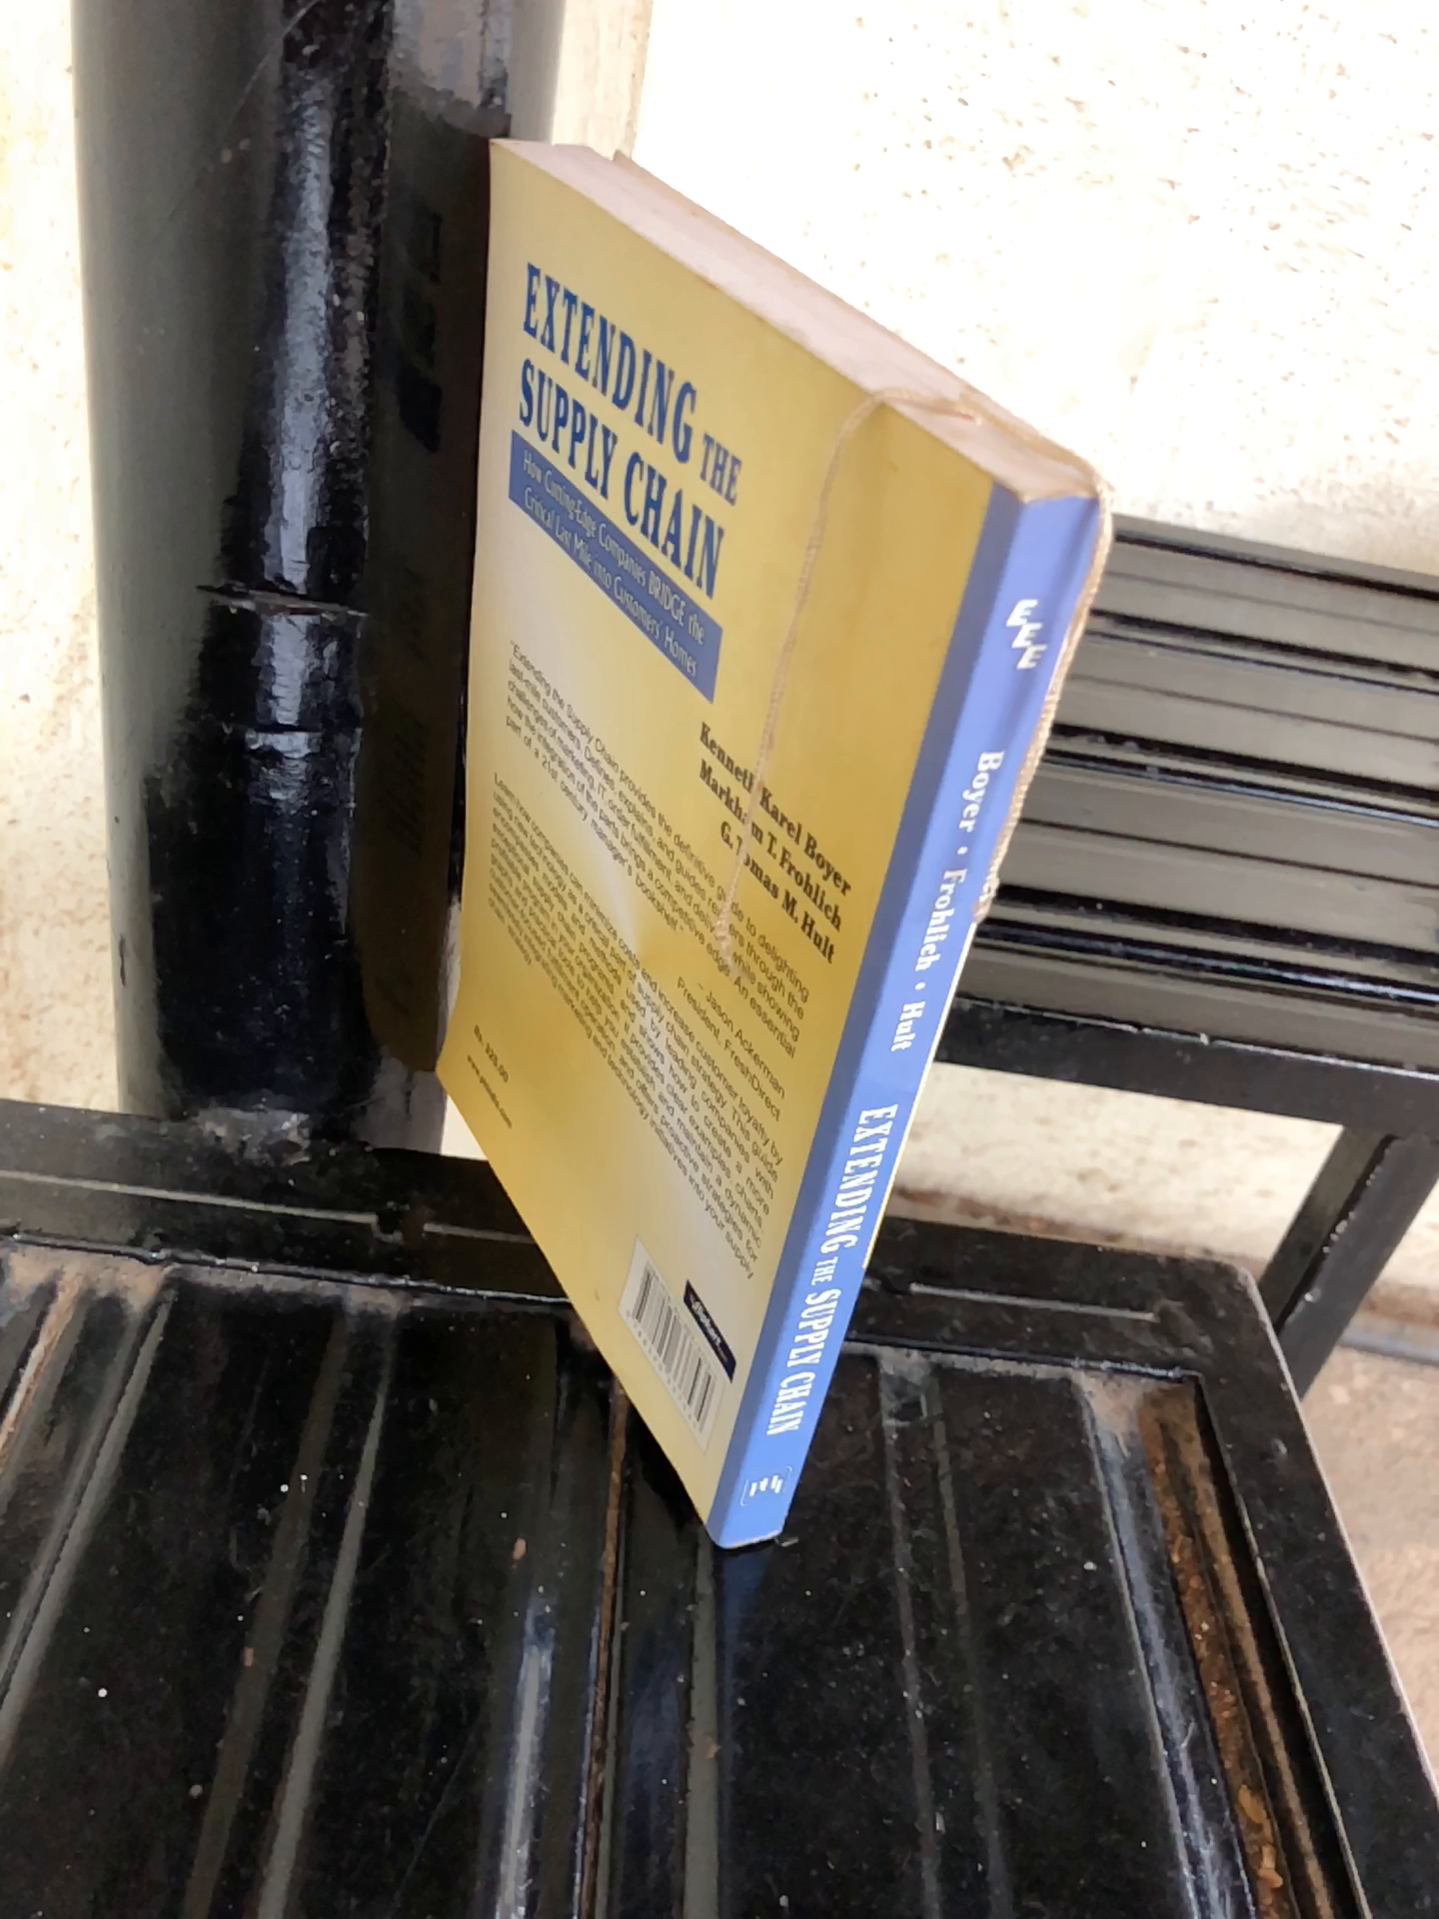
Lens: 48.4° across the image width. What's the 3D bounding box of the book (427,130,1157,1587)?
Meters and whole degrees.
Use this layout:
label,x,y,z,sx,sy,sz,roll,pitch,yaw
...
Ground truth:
label,x,y,z,sx,sy,sz,roll,pitch,yaw
book,-0.012,-0.013,0.304,0.030,0.229,0.150,-13,43,-27
